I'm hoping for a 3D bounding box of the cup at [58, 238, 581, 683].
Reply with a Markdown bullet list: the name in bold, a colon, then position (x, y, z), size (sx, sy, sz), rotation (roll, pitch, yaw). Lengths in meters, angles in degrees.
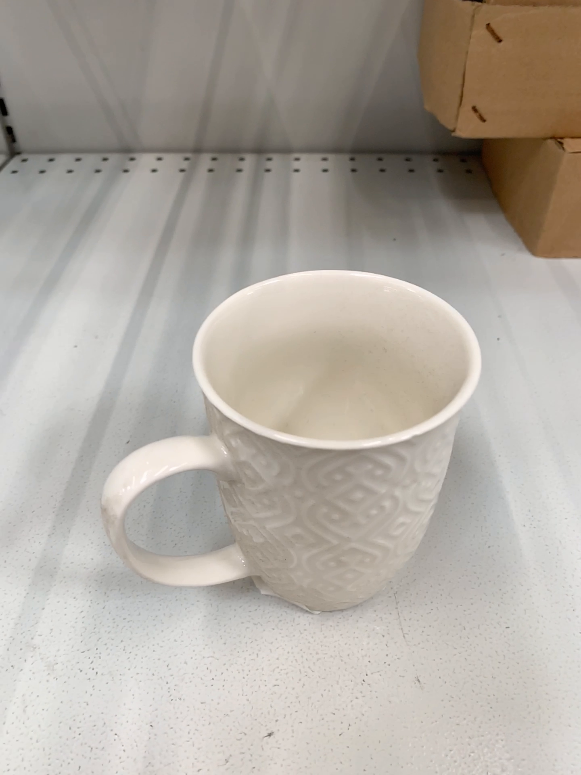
- **cup**: position (0.003, 0.021, 0.210), size (0.131, 0.098, 0.092), rotation (-8, 42, -9)
